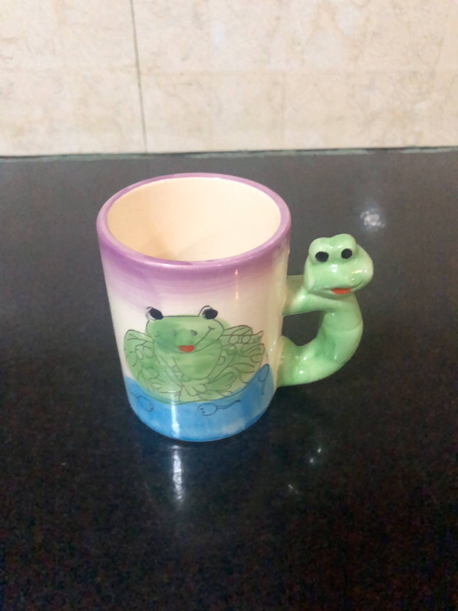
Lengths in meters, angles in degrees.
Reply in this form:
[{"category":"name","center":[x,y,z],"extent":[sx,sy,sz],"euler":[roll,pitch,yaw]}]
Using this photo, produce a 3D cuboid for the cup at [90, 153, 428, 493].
[{"category":"cup","center":[0.004,0.005,0.227],"extent":[0.110,0.109,0.081],"euler":[-8,38,-10]}]
